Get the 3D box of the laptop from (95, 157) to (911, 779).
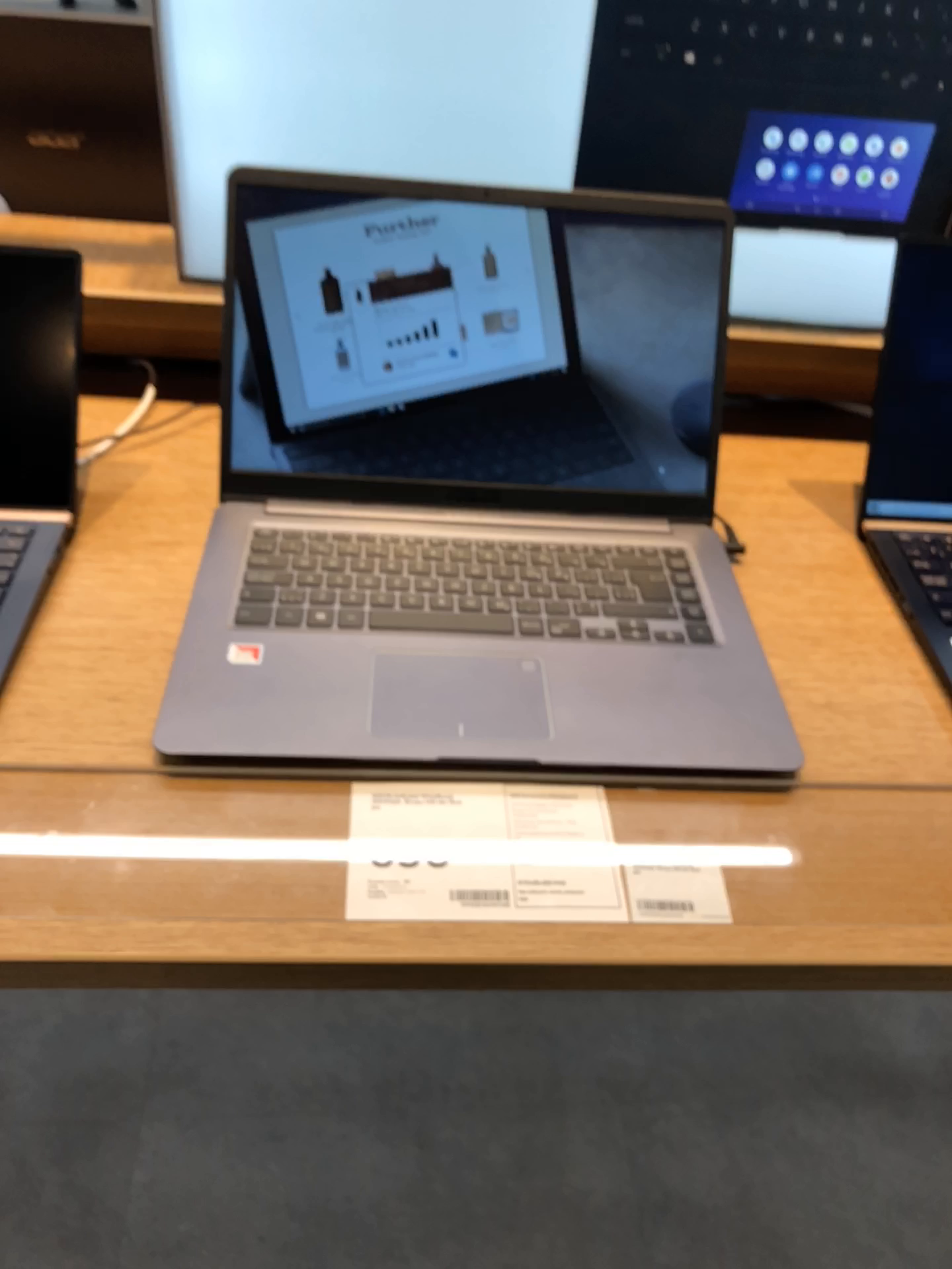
[{"bbox_3d":[0.001,-0.125,0.658,0.352,0.177,0.392,2,41,-6],"label":"laptop"}]
